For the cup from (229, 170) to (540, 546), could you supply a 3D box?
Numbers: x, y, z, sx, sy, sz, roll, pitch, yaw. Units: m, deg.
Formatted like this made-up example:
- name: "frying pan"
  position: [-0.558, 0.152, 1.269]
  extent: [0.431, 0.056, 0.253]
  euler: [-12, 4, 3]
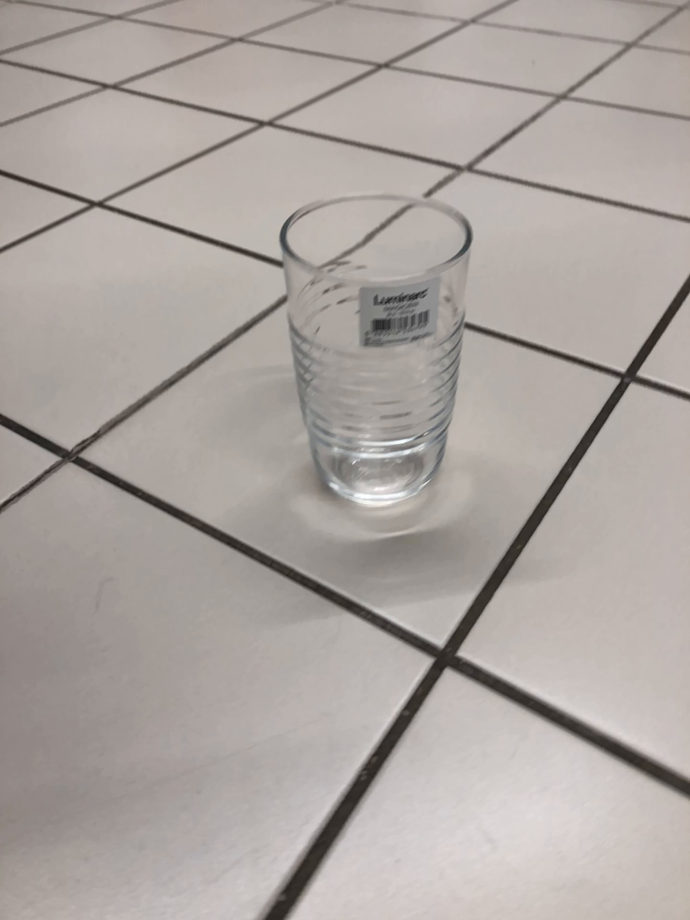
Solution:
- name: "cup"
  position: [0.014, -0.042, 0.303]
  extent: [0.079, 0.104, 0.077]
  euler: [-1, 42, 1]
